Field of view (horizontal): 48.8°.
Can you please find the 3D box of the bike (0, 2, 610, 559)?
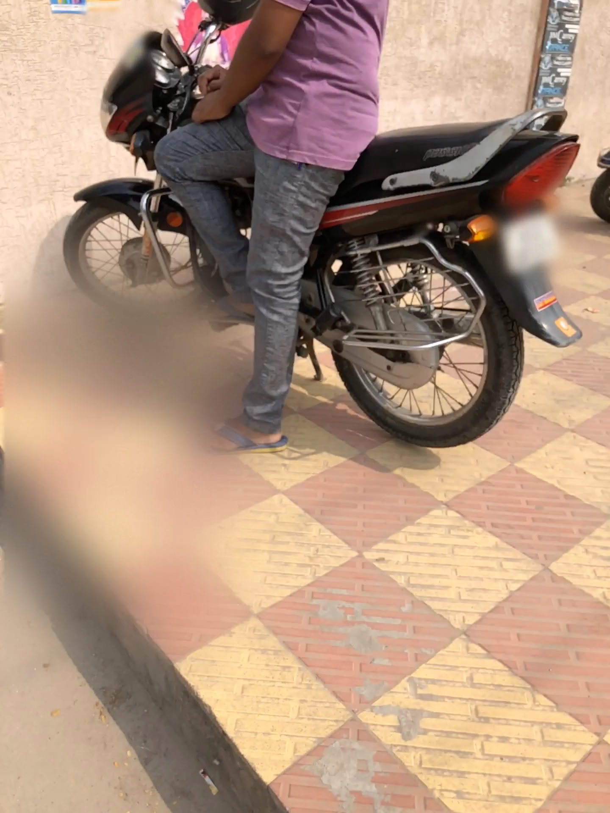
[{"bbox_3d":[-0.222,-0.535,1.955,1.721,1.066,0.897,20,34,29],"label":"bike"}]
